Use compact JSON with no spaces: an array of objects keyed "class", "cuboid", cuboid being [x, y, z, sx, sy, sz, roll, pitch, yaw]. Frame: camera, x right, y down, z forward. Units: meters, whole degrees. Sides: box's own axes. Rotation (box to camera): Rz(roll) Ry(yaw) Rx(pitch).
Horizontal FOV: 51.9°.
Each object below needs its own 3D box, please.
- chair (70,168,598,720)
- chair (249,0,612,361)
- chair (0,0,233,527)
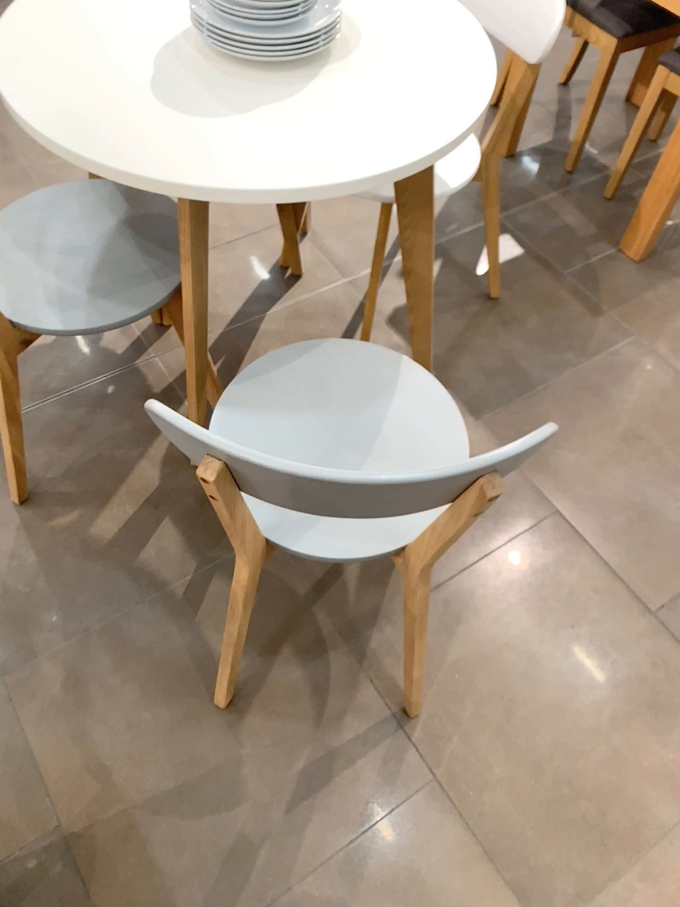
[{"class":"chair","cuboid":[-0.023,0.057,1.168,0.519,0.800,0.534,3,55,-2]},{"class":"chair","cuboid":[0.151,-0.768,1.749,0.541,0.800,0.522,-25,61,-20]},{"class":"chair","cuboid":[-0.607,-0.363,1.432,0.542,0.800,0.522,-26,61,-20]}]
